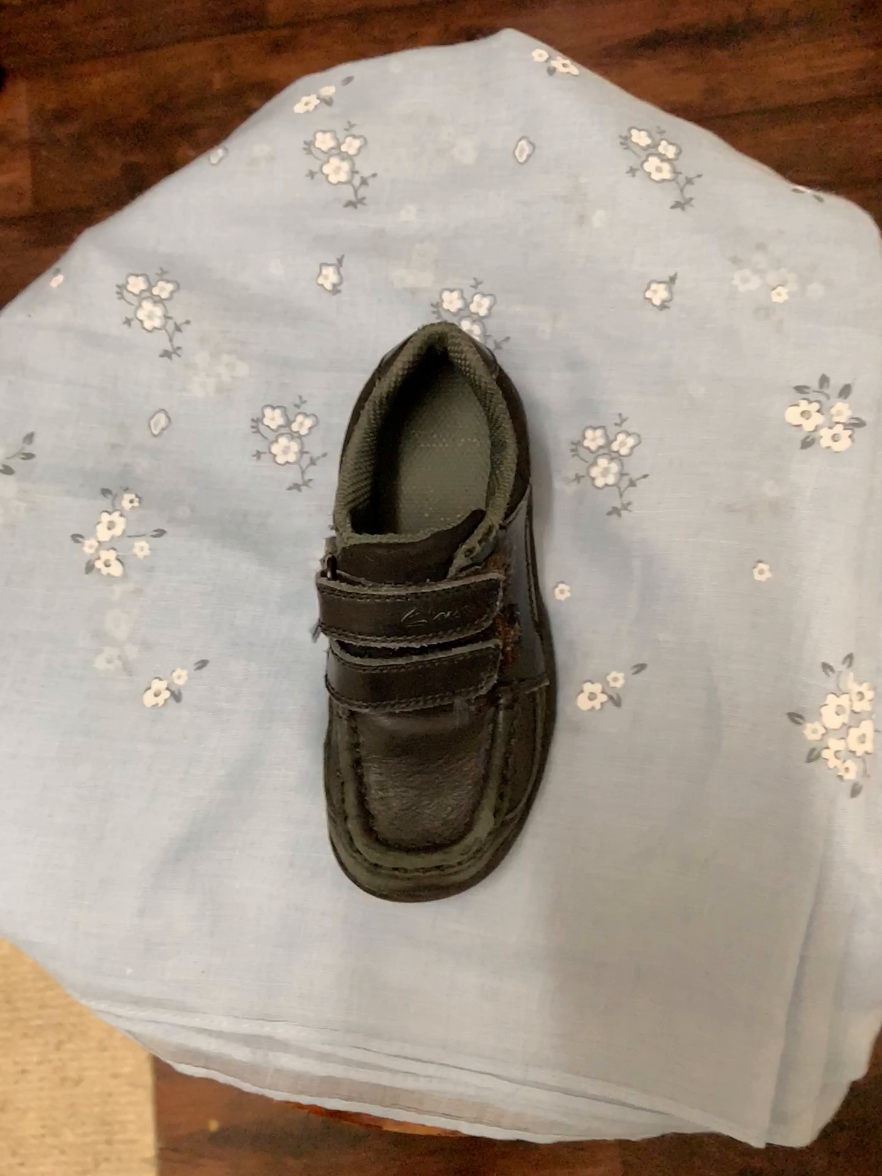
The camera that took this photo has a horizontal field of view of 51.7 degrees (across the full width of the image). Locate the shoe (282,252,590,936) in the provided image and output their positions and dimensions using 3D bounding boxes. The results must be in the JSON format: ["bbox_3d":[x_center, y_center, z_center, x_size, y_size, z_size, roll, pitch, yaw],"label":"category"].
[{"bbox_3d":[0.003,0.000,0.291,0.078,0.073,0.190,2,83,5],"label":"shoe"}]
